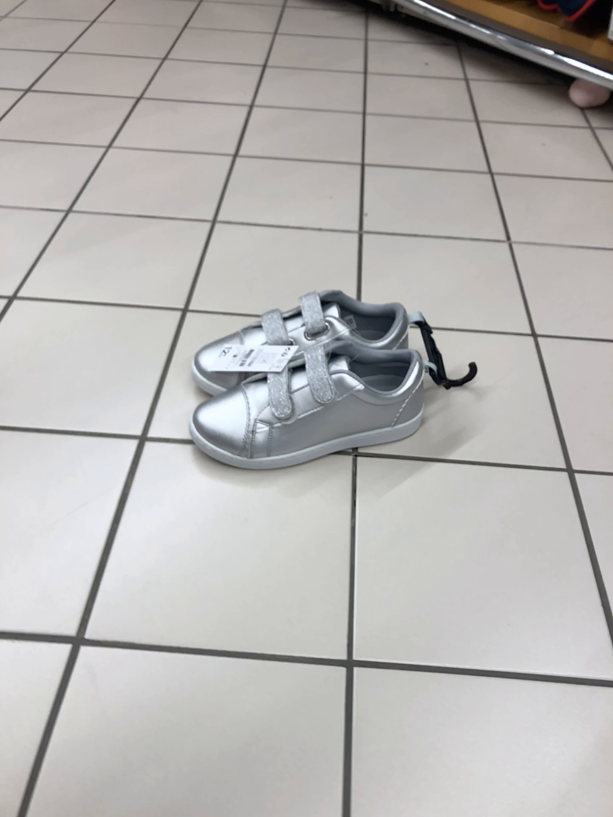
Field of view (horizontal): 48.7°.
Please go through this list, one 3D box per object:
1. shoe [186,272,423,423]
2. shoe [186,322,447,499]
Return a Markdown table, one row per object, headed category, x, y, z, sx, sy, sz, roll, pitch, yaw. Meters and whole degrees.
| category | x | y | z | sx | sy | sz | roll | pitch | yaw |
| --- | --- | --- | --- | --- | --- | --- | --- | --- | --- |
| shoe | -0.005 | -0.065 | 0.690 | 0.215 | 0.085 | 0.091 | -10 | 46 | -13 |
| shoe | 0.007 | -0.002 | 0.631 | 0.215 | 0.085 | 0.091 | -12 | 47 | -14 |
